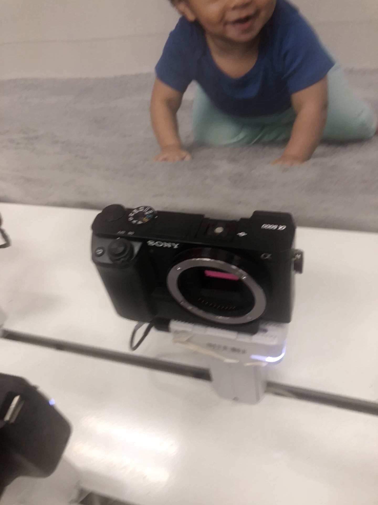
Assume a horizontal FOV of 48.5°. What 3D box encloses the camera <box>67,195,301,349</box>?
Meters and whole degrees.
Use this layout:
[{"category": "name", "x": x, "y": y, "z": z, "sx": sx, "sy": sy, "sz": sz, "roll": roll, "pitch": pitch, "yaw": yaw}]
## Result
[{"category": "camera", "x": 0.001, "y": 0.010, "z": 0.249, "sx": 0.120, "sy": 0.070, "sz": 0.040, "roll": 7, "pitch": 46, "yaw": 17}]
